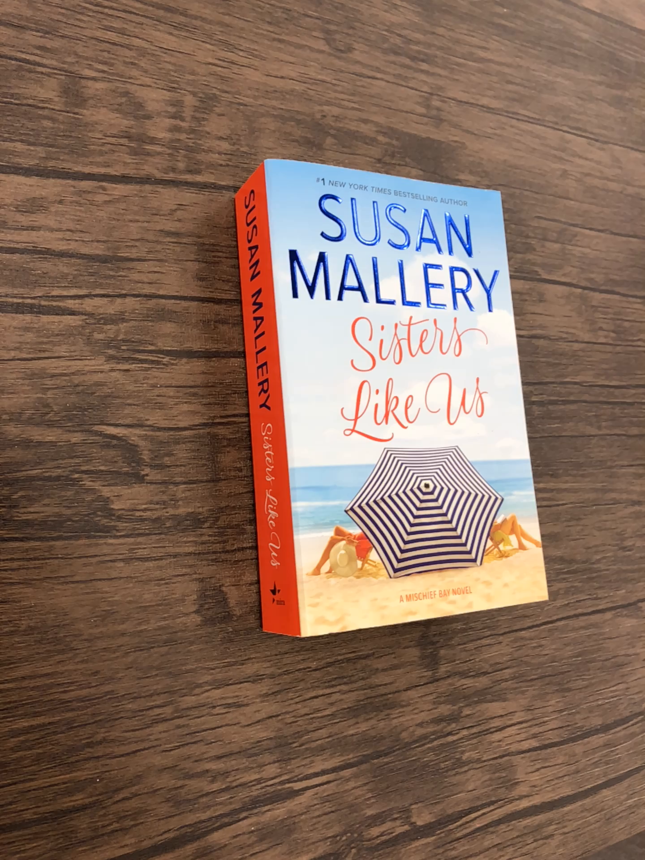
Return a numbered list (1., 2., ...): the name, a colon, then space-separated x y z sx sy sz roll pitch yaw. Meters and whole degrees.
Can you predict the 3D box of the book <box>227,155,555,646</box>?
1. book: 0.025 -0.010 0.272 0.104 0.043 0.160 -1 82 -25
